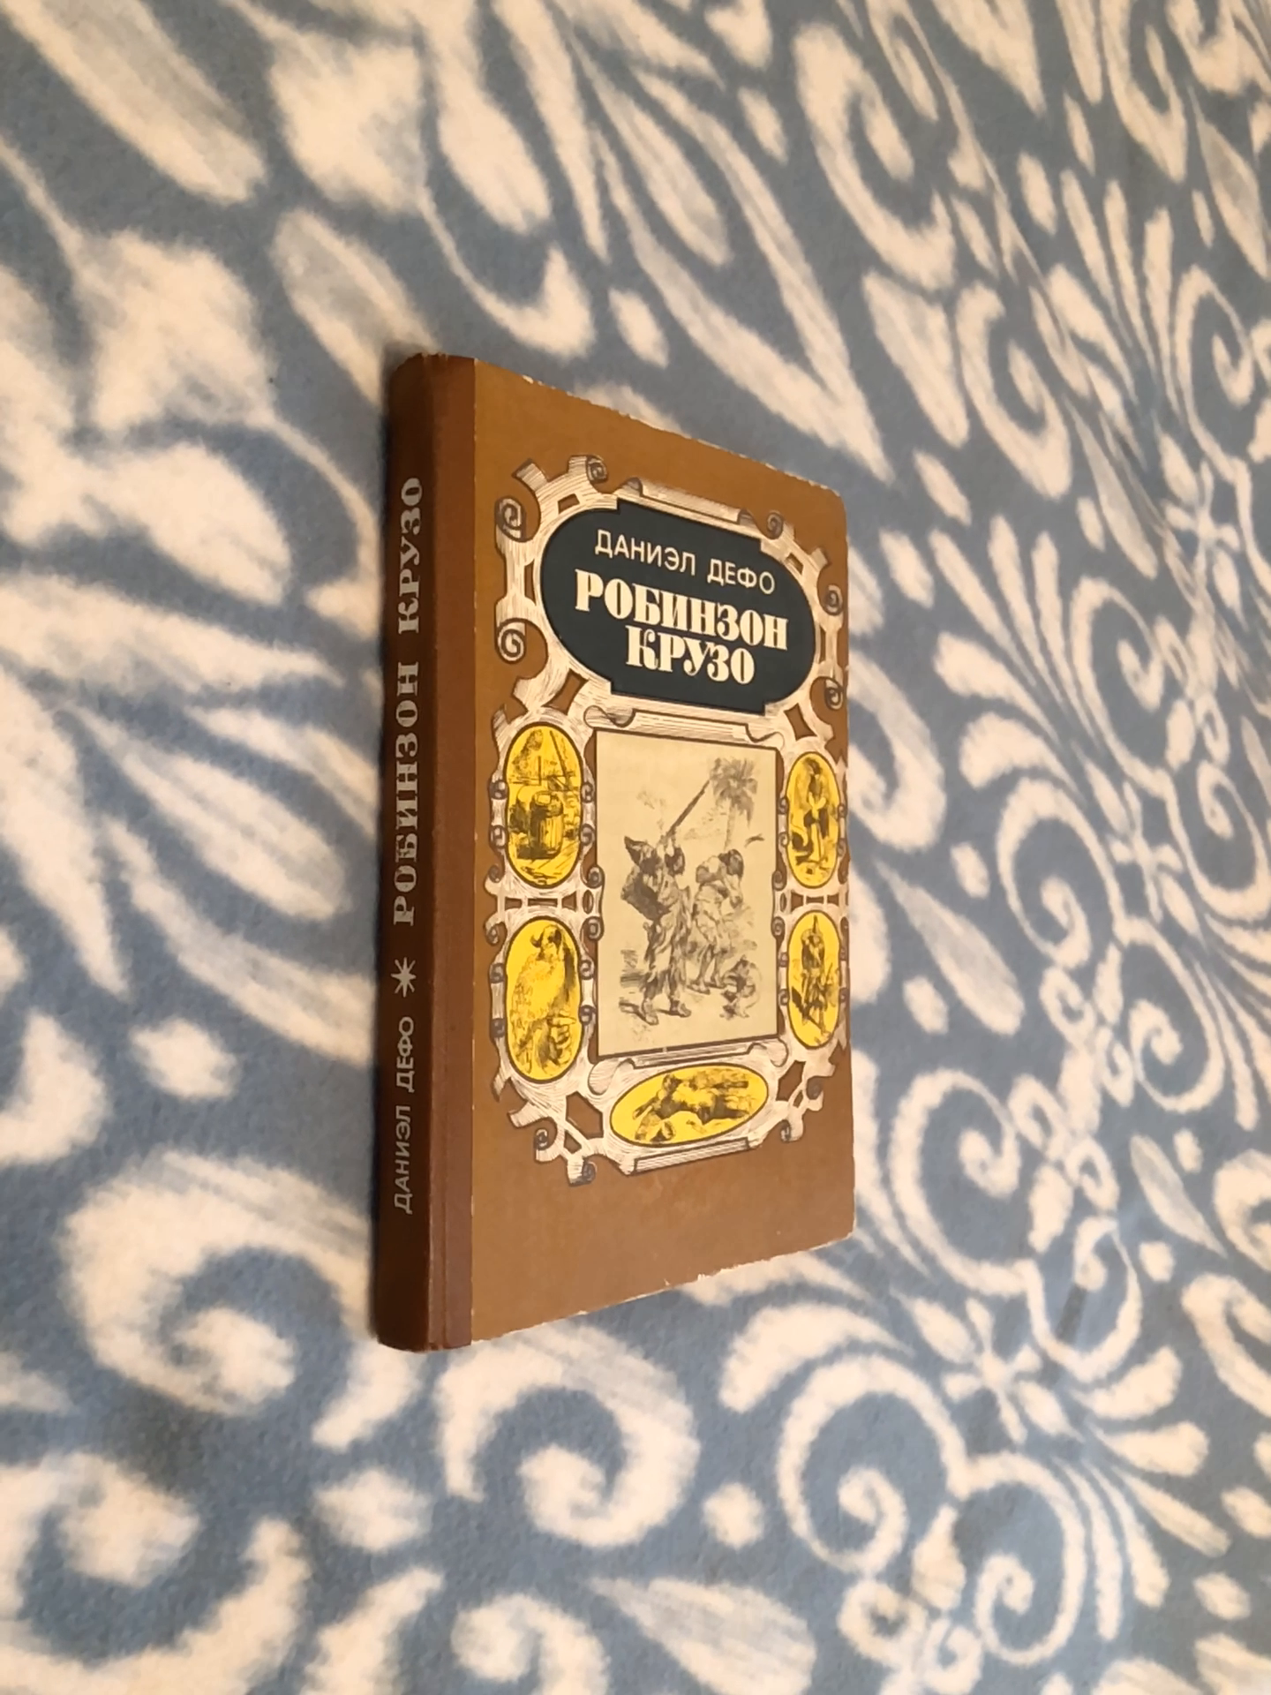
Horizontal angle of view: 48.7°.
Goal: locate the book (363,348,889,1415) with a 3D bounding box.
[{"bbox_3d":[0.008,0.009,0.390,0.179,0.024,0.242,3,87,-45],"label":"book"}]
